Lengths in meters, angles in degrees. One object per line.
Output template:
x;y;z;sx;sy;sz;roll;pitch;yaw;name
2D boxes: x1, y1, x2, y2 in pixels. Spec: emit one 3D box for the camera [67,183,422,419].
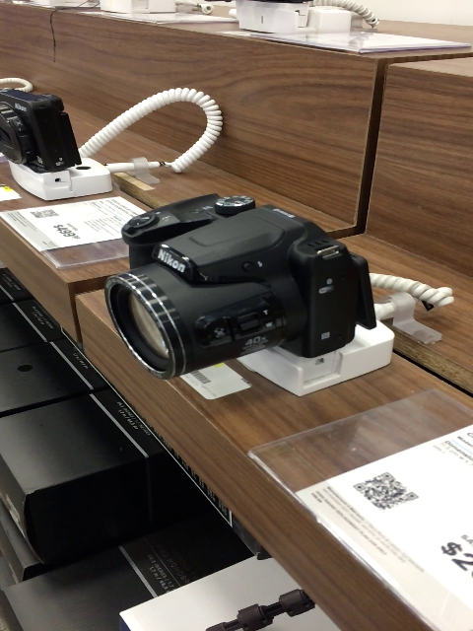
-0.002;-0.016;0.317;0.110;0.063;0.120;-18;36;-28;camera
